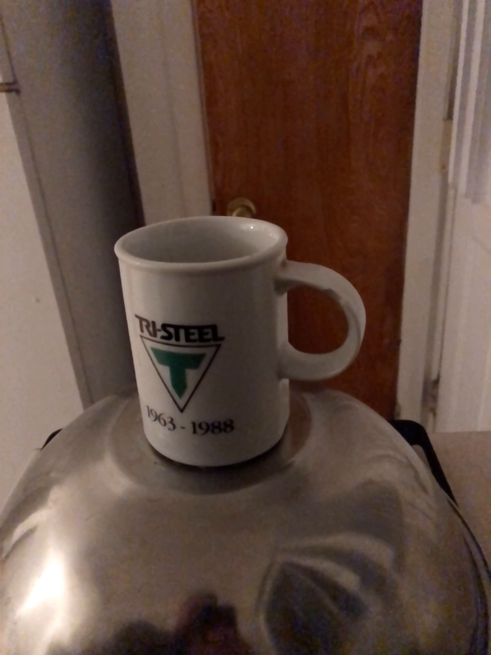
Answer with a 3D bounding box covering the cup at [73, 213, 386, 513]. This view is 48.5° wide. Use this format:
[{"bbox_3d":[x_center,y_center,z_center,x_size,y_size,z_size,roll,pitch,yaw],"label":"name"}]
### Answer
[{"bbox_3d":[-0.003,0.008,0.257,0.116,0.099,0.070,10,30,26],"label":"cup"}]
